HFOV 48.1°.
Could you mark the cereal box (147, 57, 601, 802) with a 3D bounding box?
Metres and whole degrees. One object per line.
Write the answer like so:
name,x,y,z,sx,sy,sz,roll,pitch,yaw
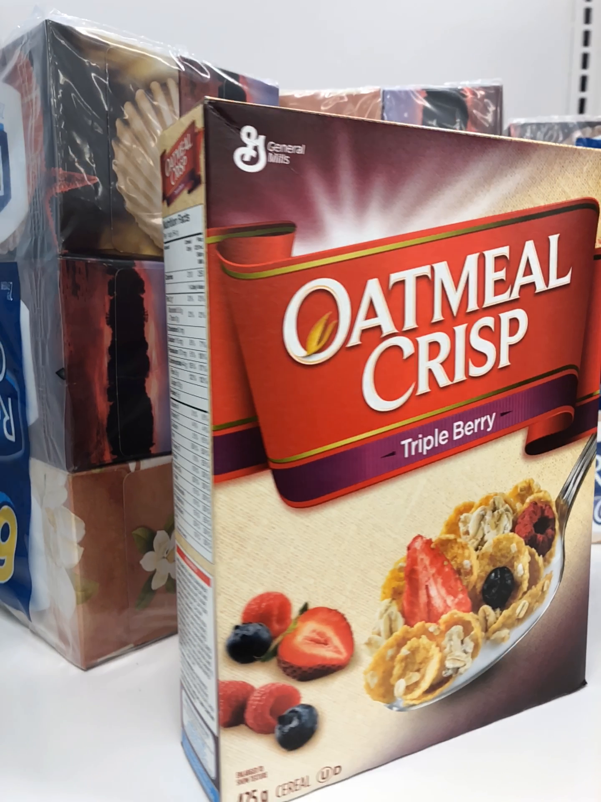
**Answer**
cereal box,0.044,0.016,0.297,0.200,0.270,0.060,-4,9,-26
